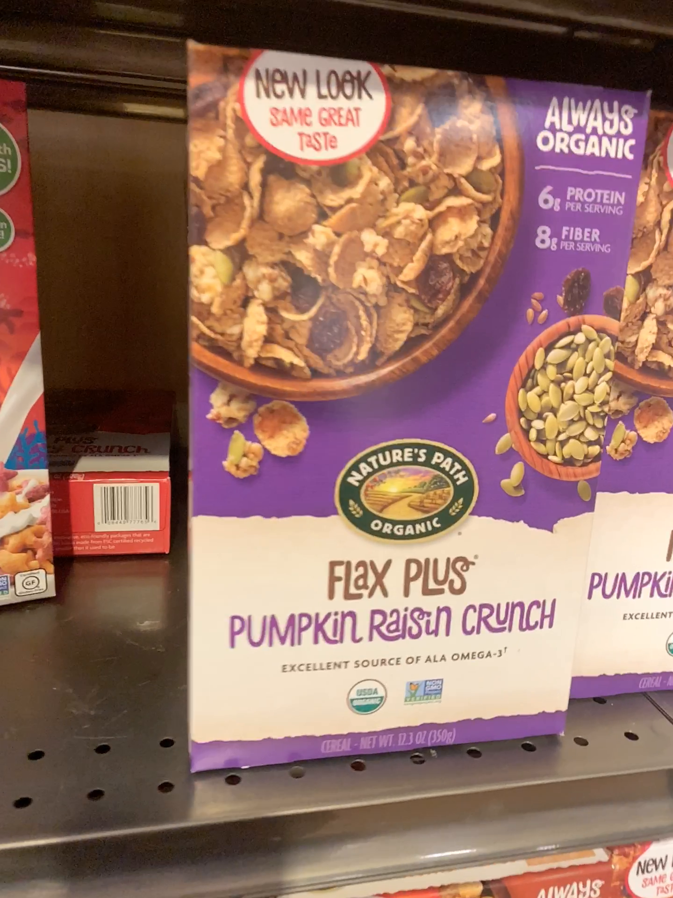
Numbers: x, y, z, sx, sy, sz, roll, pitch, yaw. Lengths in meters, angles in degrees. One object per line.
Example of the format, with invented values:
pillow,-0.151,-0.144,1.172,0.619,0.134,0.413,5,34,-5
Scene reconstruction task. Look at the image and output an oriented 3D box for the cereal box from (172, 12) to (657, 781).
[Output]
cereal box,0.021,-0.009,0.282,0.170,0.269,0.050,0,12,-12
